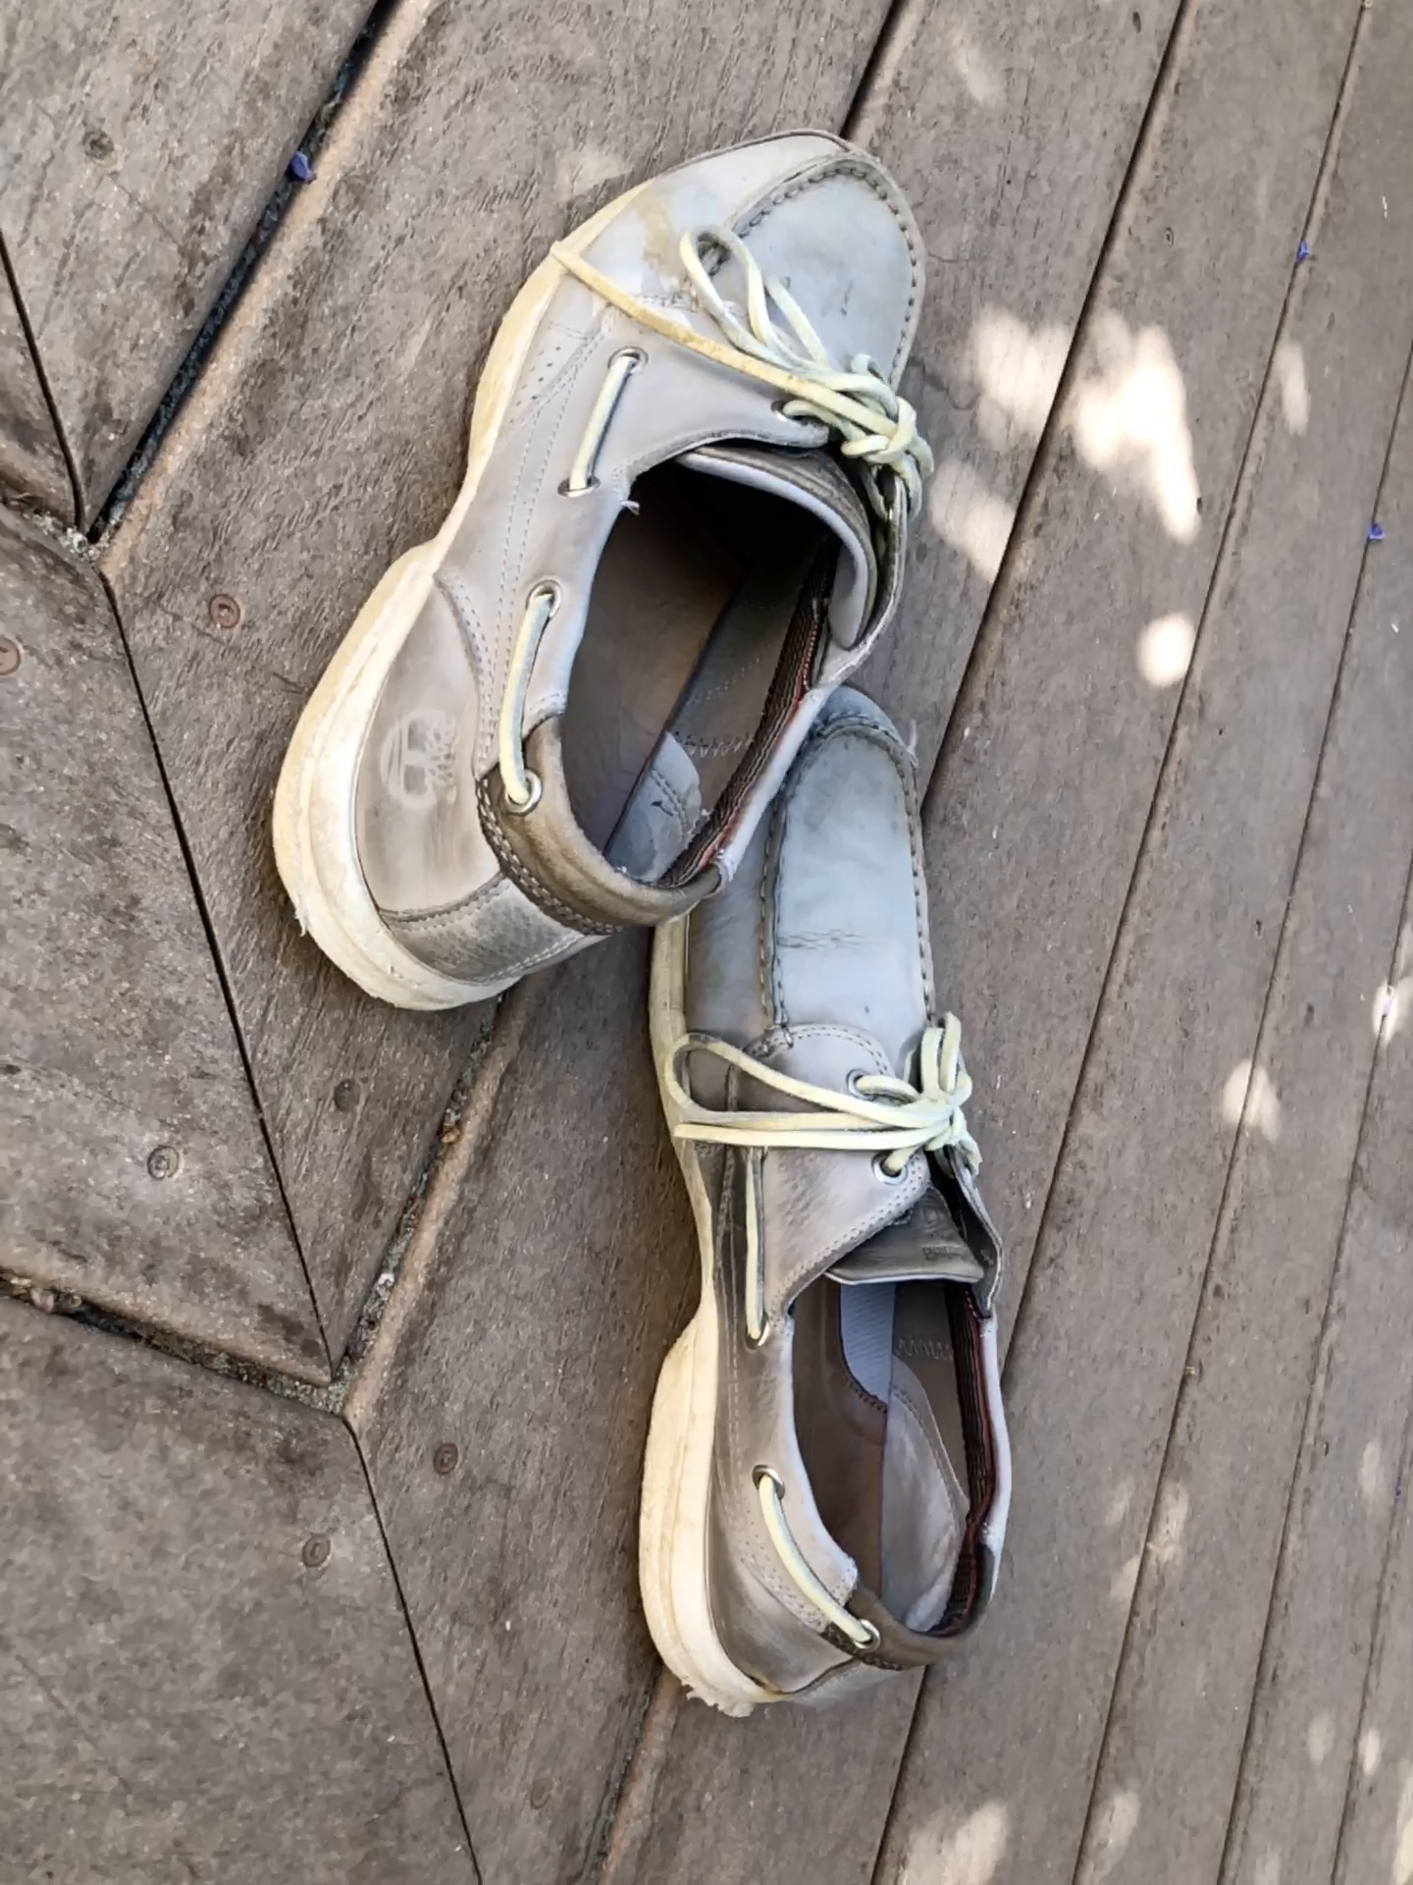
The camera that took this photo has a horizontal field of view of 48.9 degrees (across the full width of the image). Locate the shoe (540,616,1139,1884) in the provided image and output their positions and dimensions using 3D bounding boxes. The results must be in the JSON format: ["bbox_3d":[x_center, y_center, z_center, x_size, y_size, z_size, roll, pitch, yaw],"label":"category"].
[{"bbox_3d":[0.043,0.078,0.461,0.121,0.109,0.310,9,83,-46],"label":"shoe"}]

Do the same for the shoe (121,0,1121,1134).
[{"bbox_3d":[-0.001,-0.119,0.412,0.117,0.099,0.314,45,59,-37],"label":"shoe"}]
